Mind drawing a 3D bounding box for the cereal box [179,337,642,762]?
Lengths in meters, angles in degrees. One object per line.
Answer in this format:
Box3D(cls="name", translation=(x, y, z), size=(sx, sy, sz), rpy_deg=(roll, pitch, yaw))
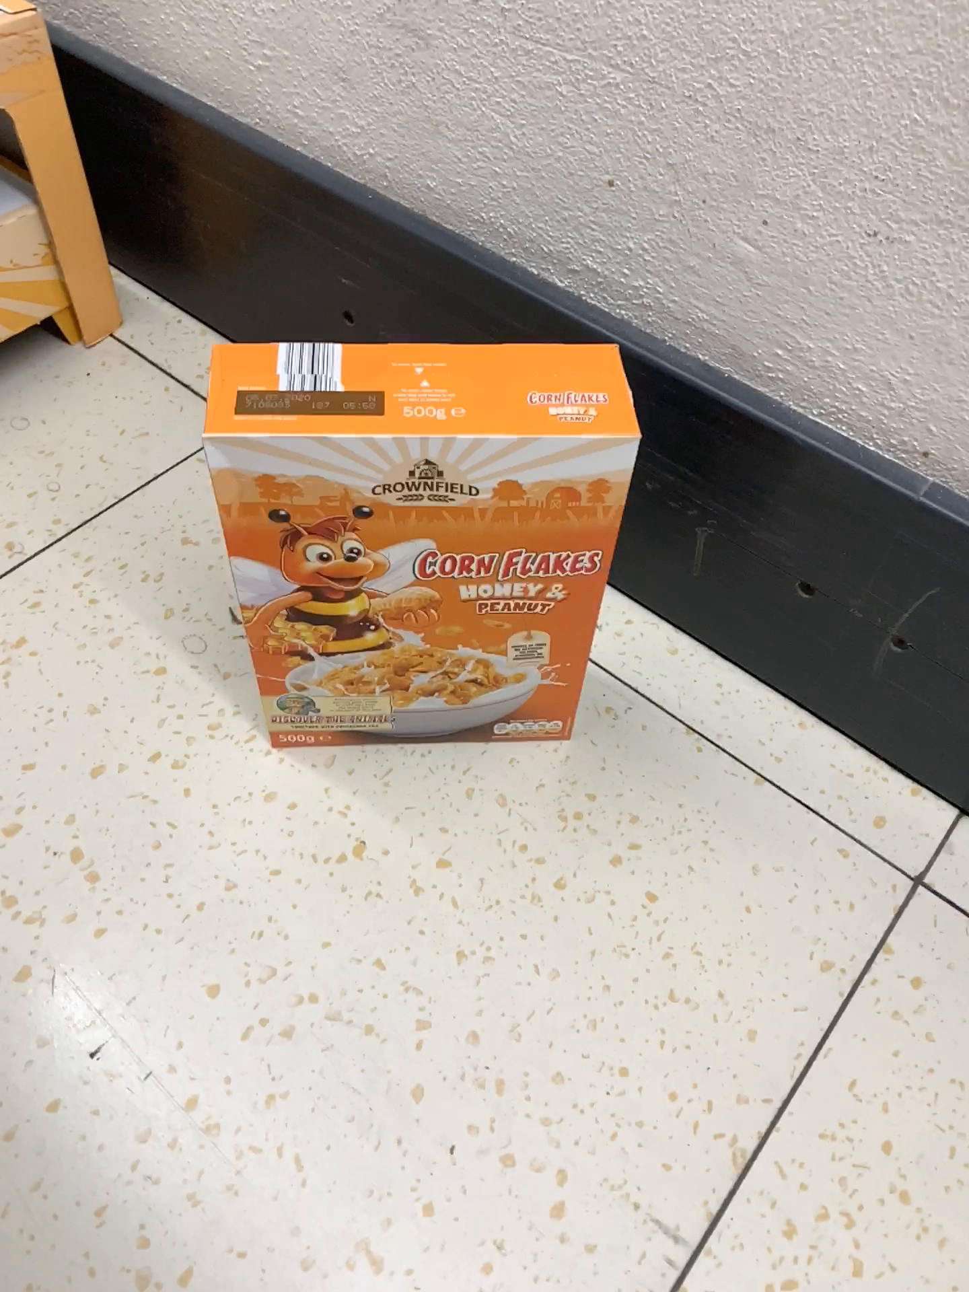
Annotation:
Box3D(cls="cereal box", translation=(-0.040, -0.036, 0.556), size=(0.200, 0.268, 0.071), rpy_deg=(-1, 52, -4))
